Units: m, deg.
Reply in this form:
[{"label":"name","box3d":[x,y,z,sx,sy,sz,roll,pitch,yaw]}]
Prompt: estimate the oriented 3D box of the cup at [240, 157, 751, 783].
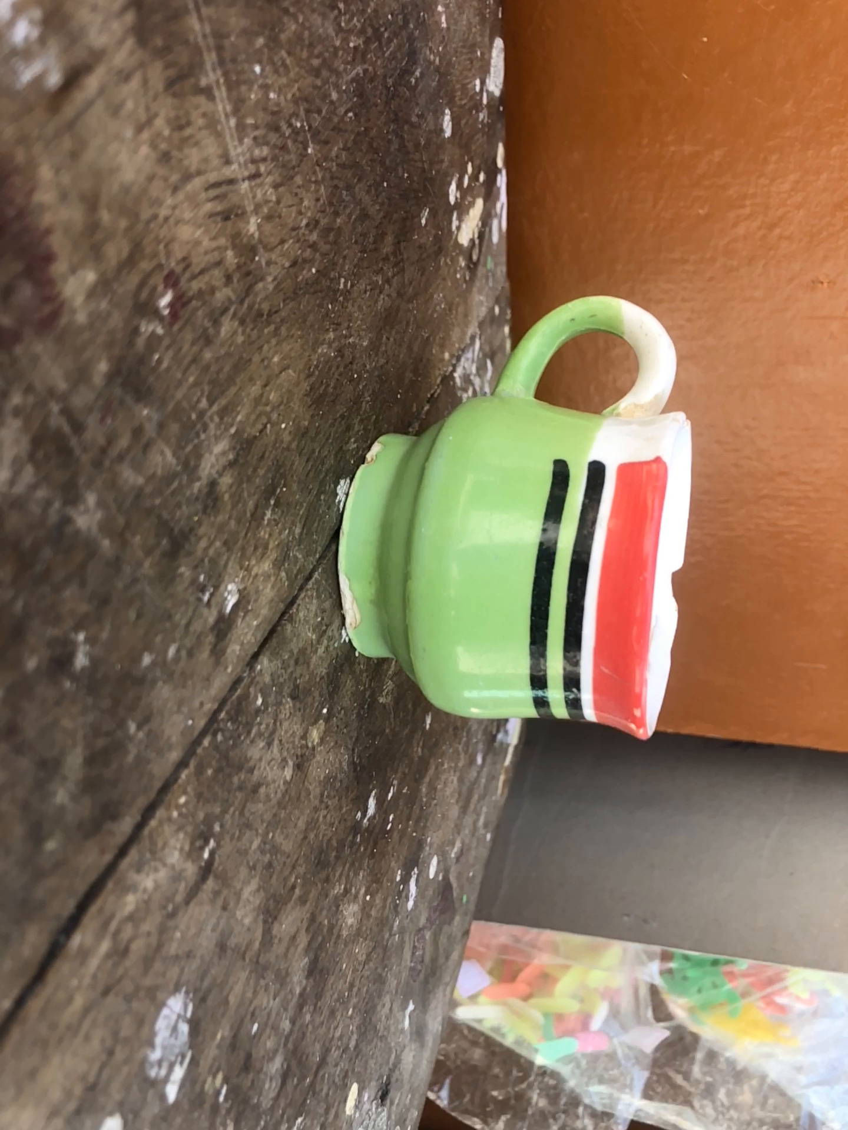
[{"label":"cup","box3d":[0.023,-0.017,0.184,0.070,0.070,0.090,66,32,-57]}]
